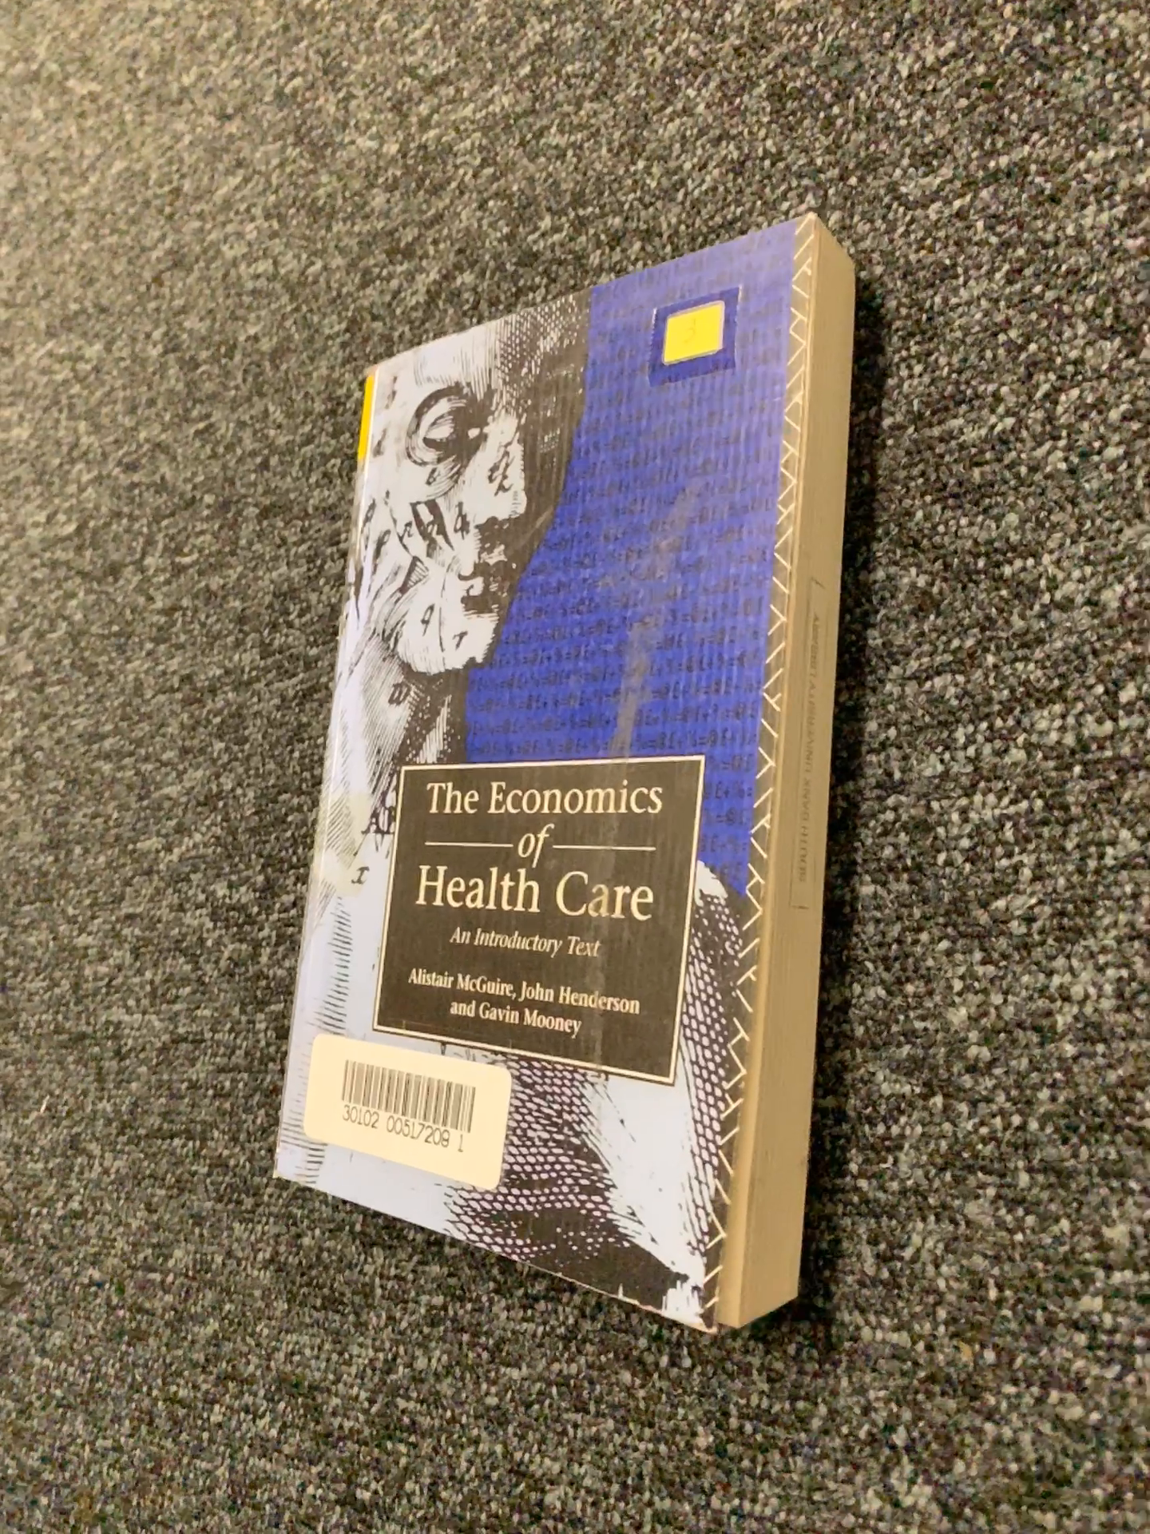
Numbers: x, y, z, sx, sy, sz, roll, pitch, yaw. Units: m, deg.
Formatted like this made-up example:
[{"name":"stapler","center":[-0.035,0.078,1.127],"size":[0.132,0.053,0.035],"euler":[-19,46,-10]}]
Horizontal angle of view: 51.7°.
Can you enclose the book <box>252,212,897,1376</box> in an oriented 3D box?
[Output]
[{"name":"book","center":[-0.005,0.001,0.264],"size":[0.136,0.030,0.207],"euler":[-1,79,40]}]
